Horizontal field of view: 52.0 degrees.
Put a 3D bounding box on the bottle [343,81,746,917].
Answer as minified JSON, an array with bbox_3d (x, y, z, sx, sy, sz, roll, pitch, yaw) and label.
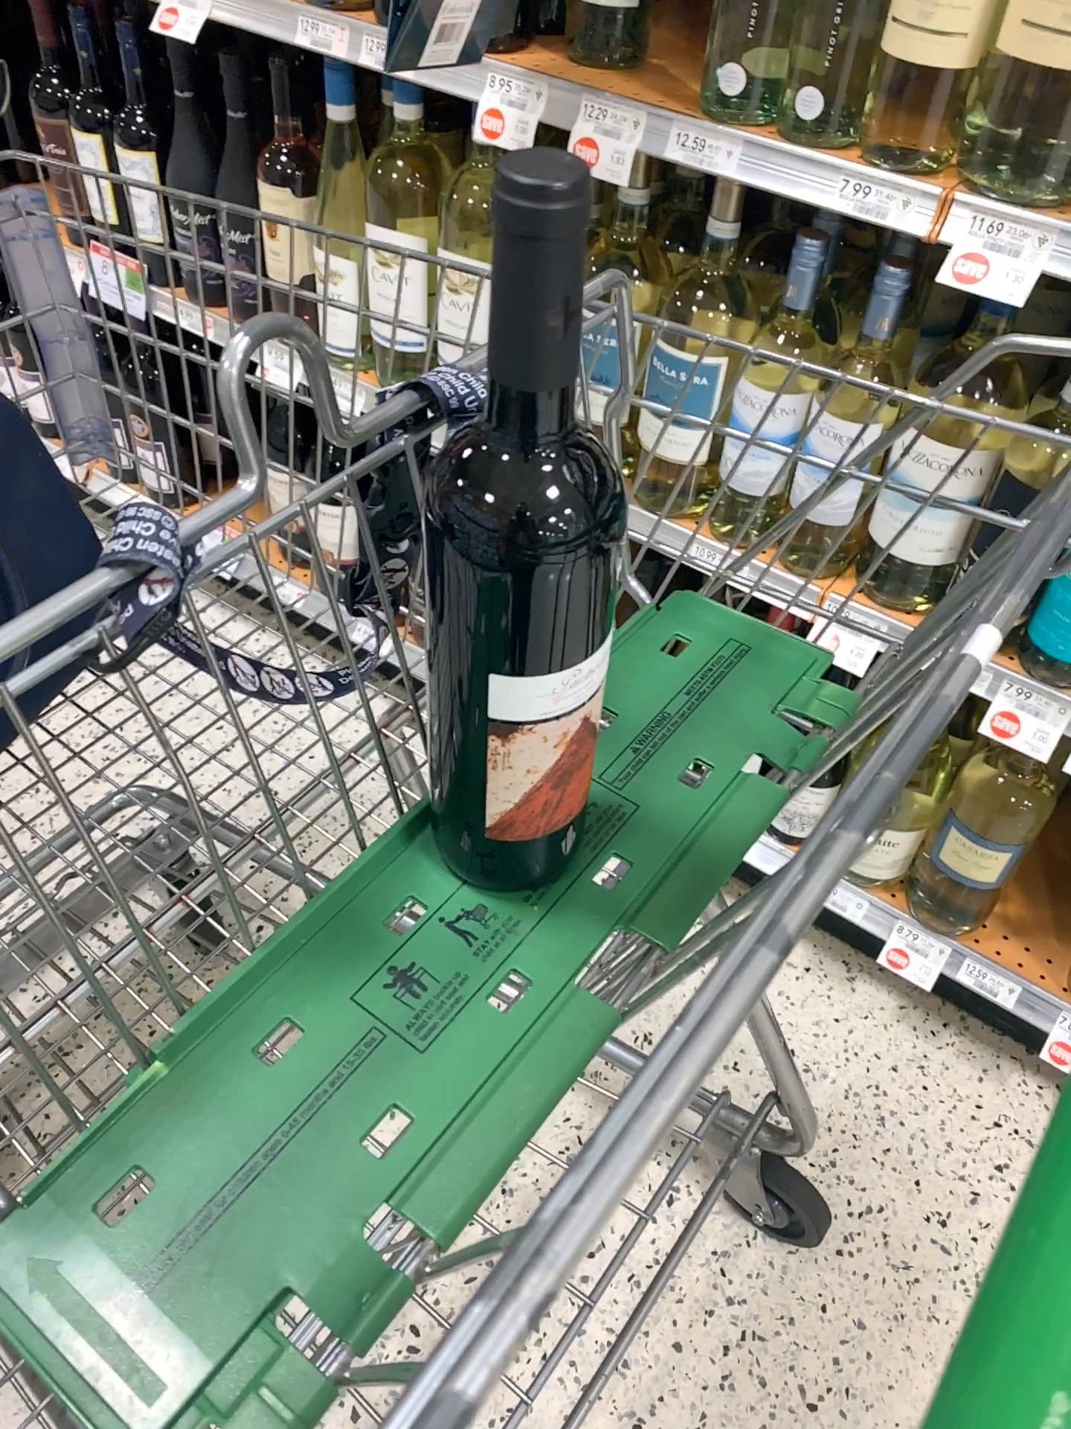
[{"bbox_3d":[-0.003,-0.055,0.414,0.080,0.297,0.081,2,46,-2],"label":"bottle"}]
